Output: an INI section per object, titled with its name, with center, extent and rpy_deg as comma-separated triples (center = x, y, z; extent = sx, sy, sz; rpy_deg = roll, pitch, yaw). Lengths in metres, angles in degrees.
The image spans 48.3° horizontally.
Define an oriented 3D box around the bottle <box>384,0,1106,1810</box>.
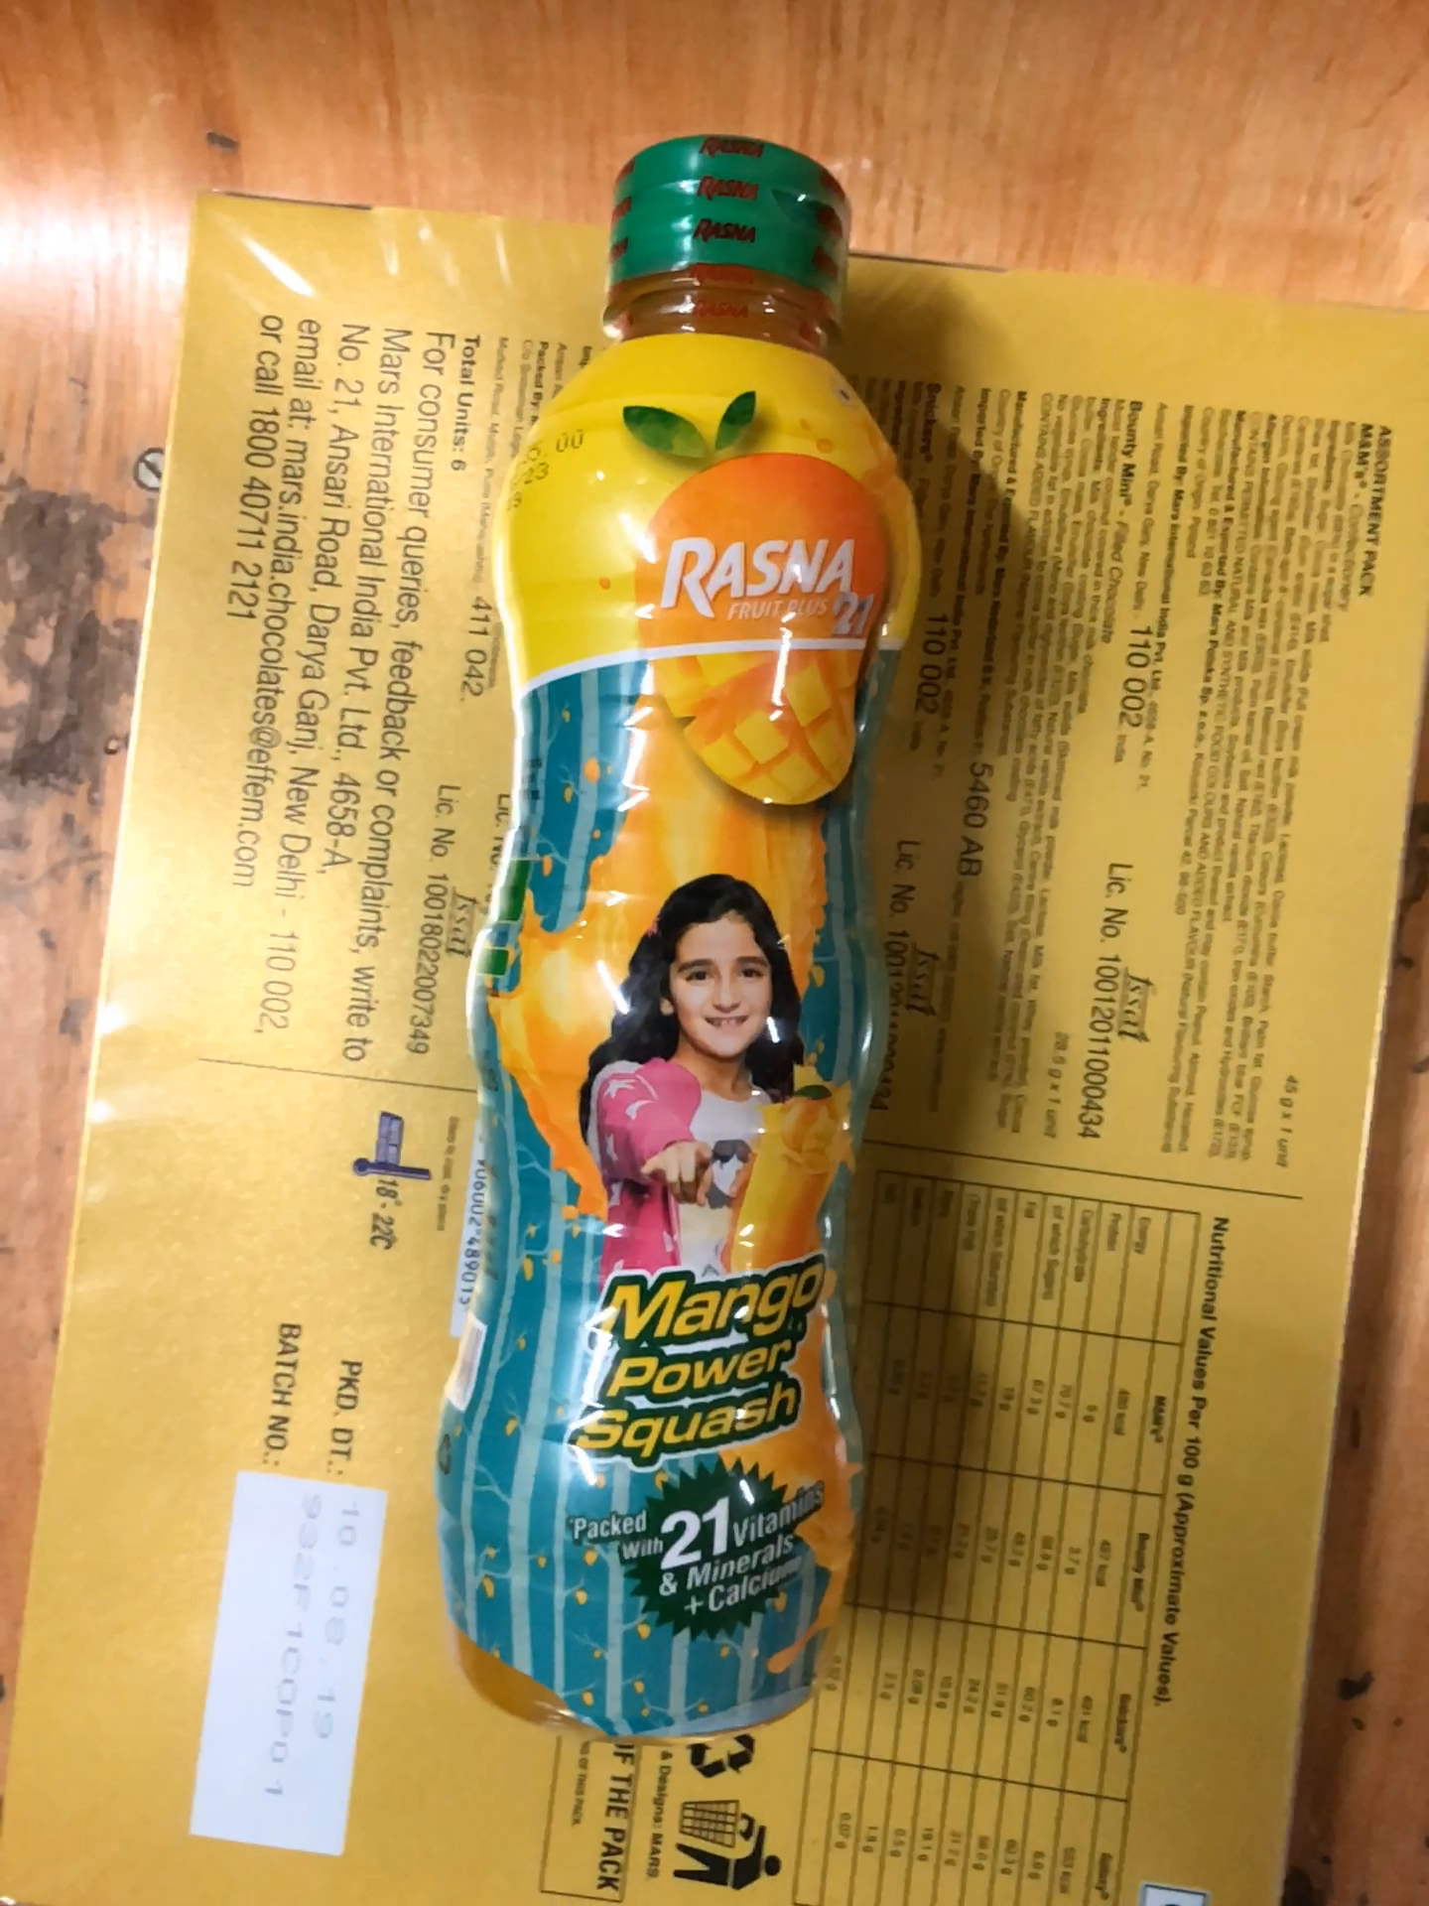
[bottle]
center = 0.002, -0.004, 0.262
extent = 0.080, 0.050, 0.260
rpy_deg = 6, 91, -17
